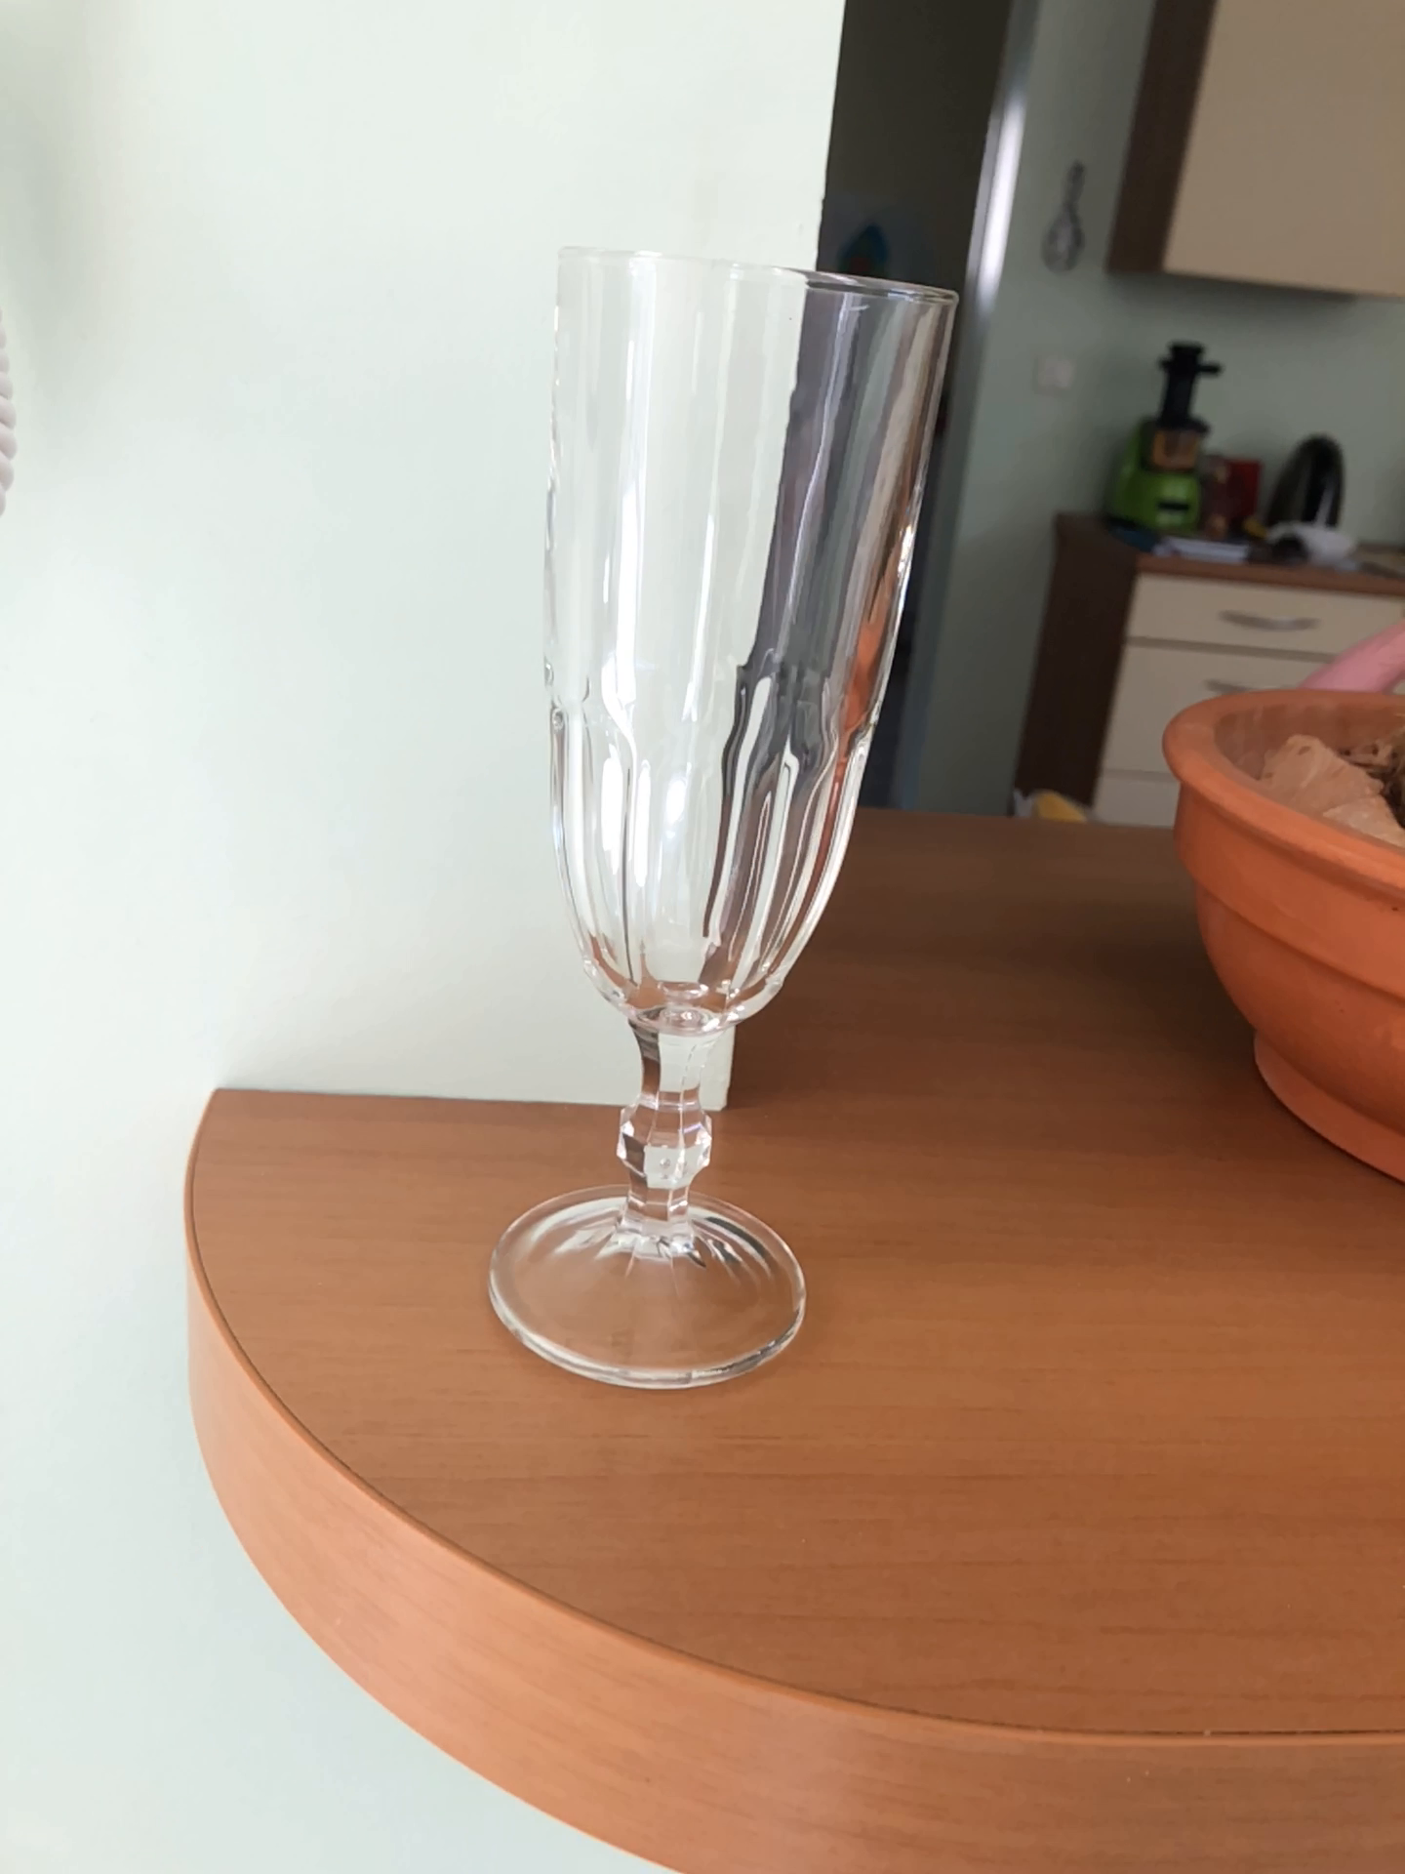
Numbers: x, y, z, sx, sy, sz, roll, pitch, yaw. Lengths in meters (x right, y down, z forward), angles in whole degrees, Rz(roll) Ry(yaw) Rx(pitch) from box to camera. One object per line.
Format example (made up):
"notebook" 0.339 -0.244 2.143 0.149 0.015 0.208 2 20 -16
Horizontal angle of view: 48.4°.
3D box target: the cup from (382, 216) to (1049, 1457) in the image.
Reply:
"cup" -0.002 -0.016 0.247 0.070 0.169 0.060 15 23 21
